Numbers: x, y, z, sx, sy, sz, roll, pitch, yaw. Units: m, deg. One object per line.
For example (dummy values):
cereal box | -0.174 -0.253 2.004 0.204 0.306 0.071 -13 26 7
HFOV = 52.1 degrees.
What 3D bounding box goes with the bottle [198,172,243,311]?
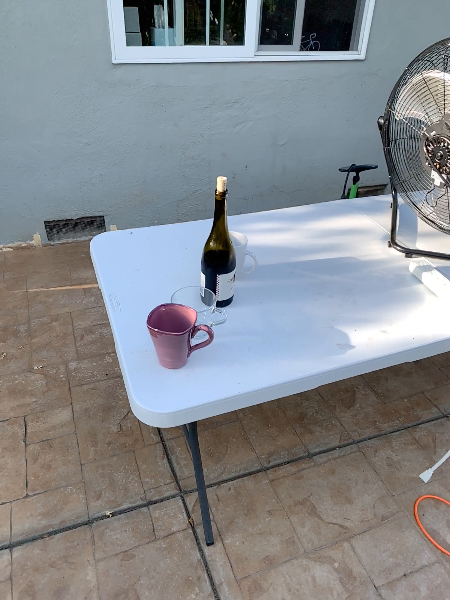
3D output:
bottle | -0.013 -0.127 1.057 0.090 0.308 0.081 4 34 2
